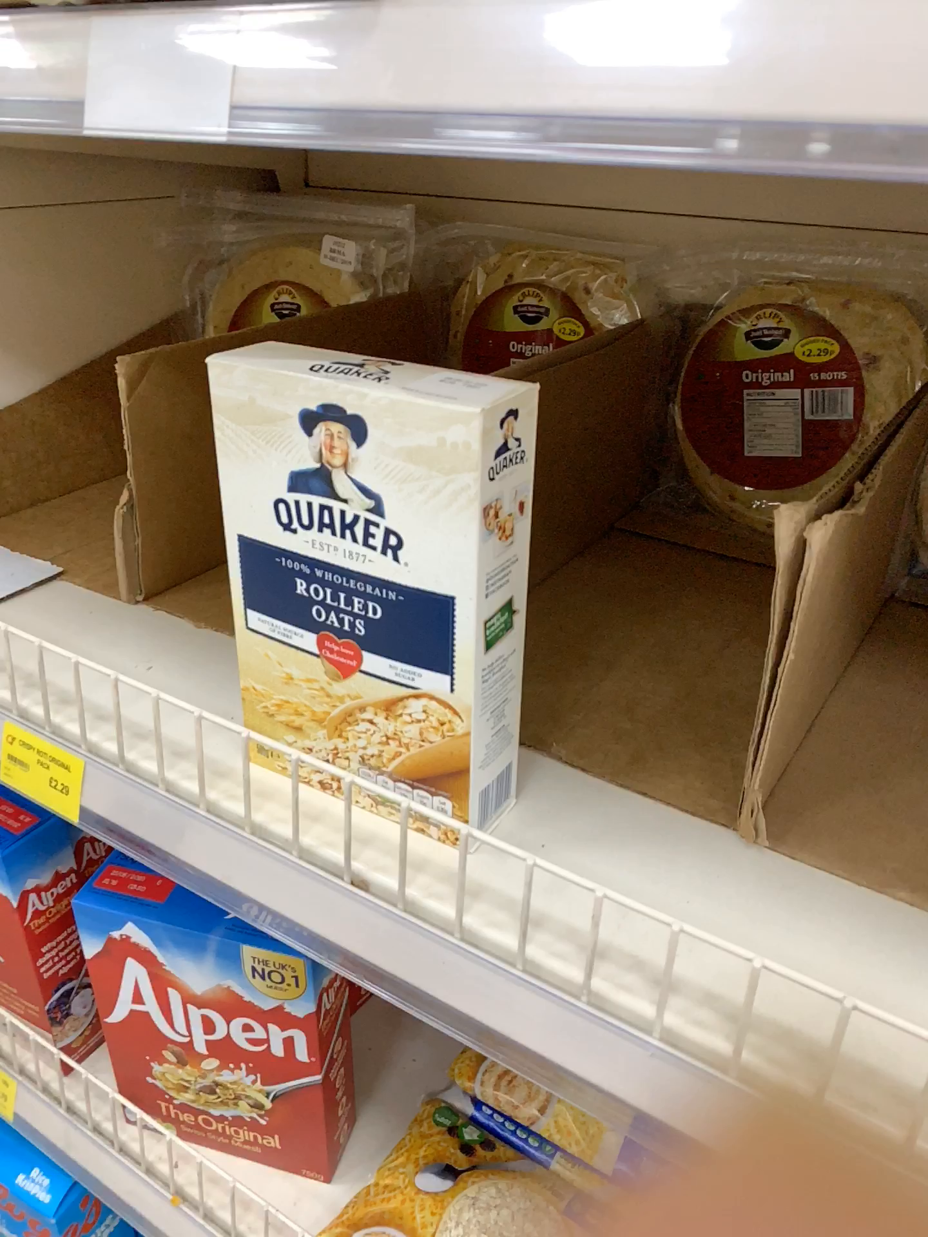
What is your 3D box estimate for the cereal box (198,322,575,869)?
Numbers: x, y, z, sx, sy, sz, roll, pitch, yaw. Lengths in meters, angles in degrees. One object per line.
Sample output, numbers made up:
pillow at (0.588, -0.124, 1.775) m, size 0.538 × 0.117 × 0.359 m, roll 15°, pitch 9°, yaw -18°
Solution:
cereal box at (-0.037, -0.013, 0.445) m, size 0.150 × 0.218 × 0.060 m, roll 17°, pitch 31°, yaw 28°
